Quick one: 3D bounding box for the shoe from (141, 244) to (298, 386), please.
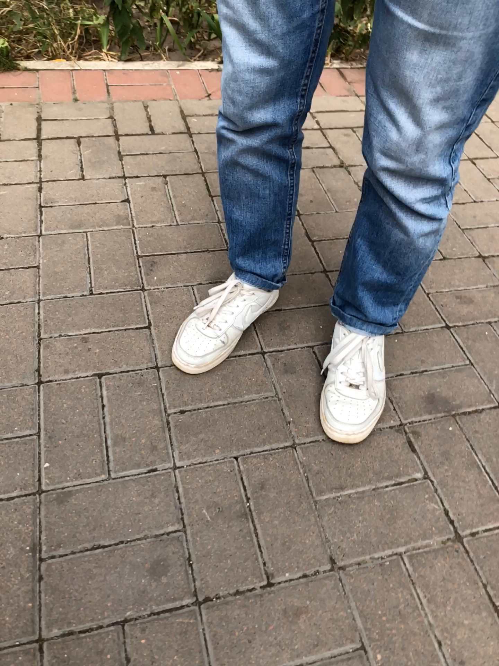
[{"bbox_3d":[-0.049,-0.045,1.028,0.120,0.070,0.301,33,53,23],"label":"shoe"}]

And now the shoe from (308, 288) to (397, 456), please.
[{"bbox_3d":[0.188,0.056,0.965,0.110,0.070,0.302,13,48,6],"label":"shoe"}]
